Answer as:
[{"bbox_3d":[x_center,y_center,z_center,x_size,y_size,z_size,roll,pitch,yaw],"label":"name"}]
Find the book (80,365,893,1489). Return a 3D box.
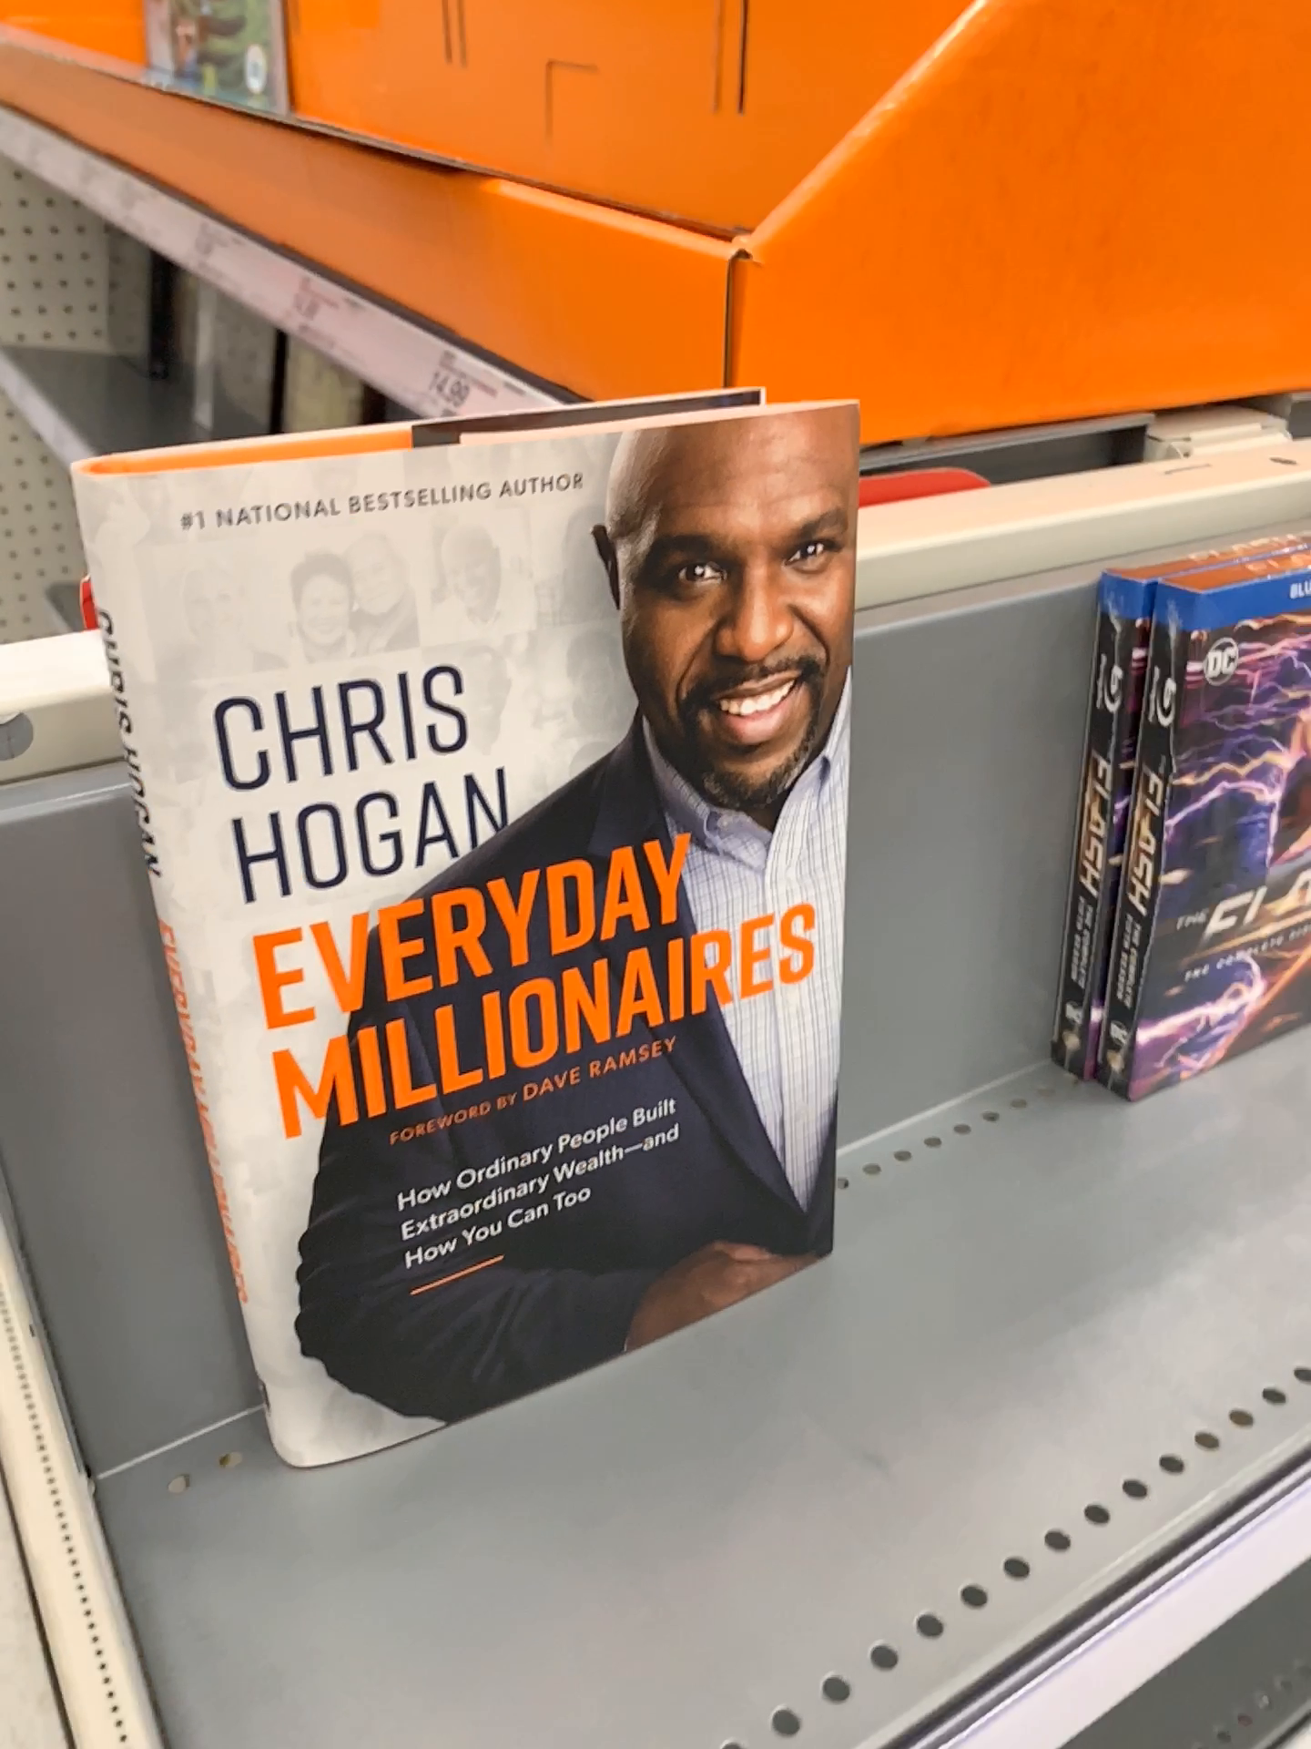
[{"bbox_3d":[-0.025,0.013,0.323,0.160,0.241,0.037,-14,28,-25],"label":"book"}]
